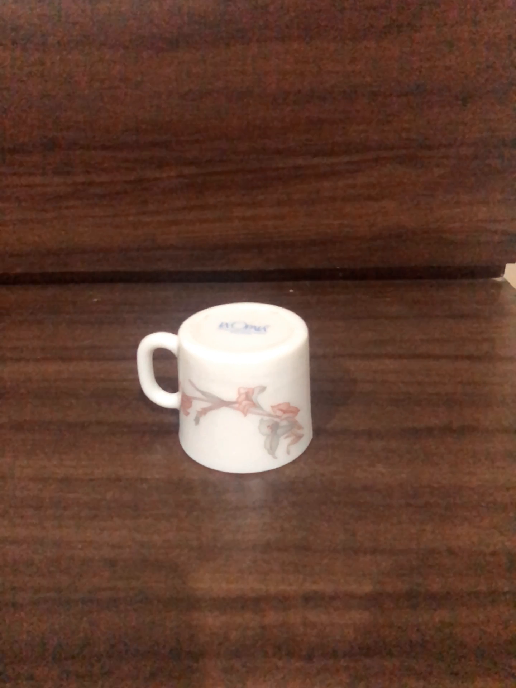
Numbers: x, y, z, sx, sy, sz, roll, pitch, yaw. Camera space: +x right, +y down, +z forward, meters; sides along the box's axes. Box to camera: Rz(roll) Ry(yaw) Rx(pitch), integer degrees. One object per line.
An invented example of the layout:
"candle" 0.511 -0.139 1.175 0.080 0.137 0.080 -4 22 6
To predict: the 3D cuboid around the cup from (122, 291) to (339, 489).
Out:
"cup" -0.008 0.020 0.282 0.090 0.070 0.060 3 31 10
